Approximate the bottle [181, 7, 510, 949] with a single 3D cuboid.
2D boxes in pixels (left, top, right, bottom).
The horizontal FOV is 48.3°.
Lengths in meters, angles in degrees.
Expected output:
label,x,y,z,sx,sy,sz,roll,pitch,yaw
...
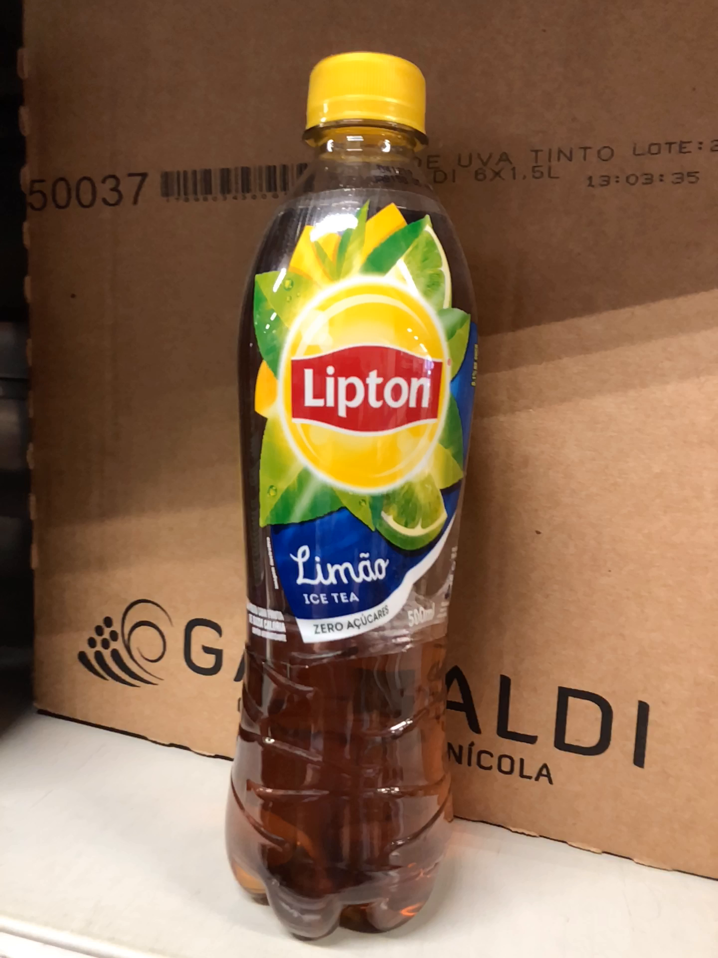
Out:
label,x,y,z,sx,sy,sz,roll,pitch,yaw
bottle,-0.006,0.005,0.216,0.070,0.219,0.060,1,9,-4
